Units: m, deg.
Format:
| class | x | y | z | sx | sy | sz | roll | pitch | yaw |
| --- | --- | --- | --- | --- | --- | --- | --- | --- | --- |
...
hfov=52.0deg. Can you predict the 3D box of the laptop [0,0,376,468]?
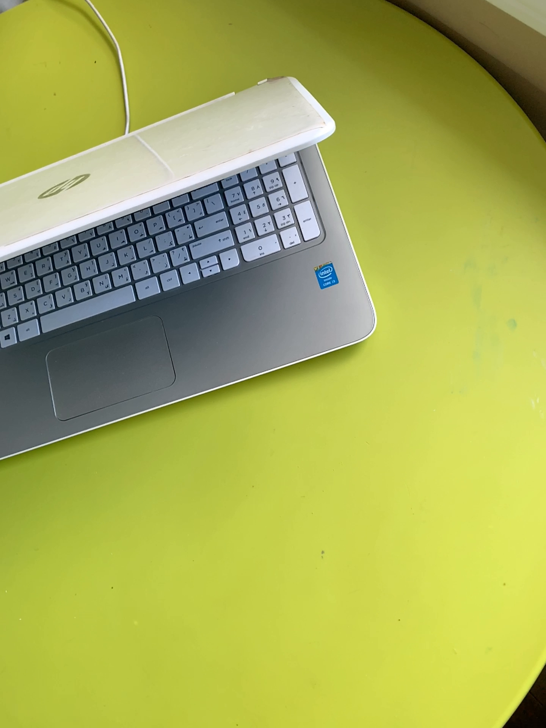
| class | x | y | z | sx | sy | sz | roll | pitch | yaw |
| --- | --- | --- | --- | --- | --- | --- | --- | --- | --- |
| laptop | -0.142 | -0.101 | 0.410 | 0.367 | 0.163 | 0.243 | -18 | 73 | 6 |
